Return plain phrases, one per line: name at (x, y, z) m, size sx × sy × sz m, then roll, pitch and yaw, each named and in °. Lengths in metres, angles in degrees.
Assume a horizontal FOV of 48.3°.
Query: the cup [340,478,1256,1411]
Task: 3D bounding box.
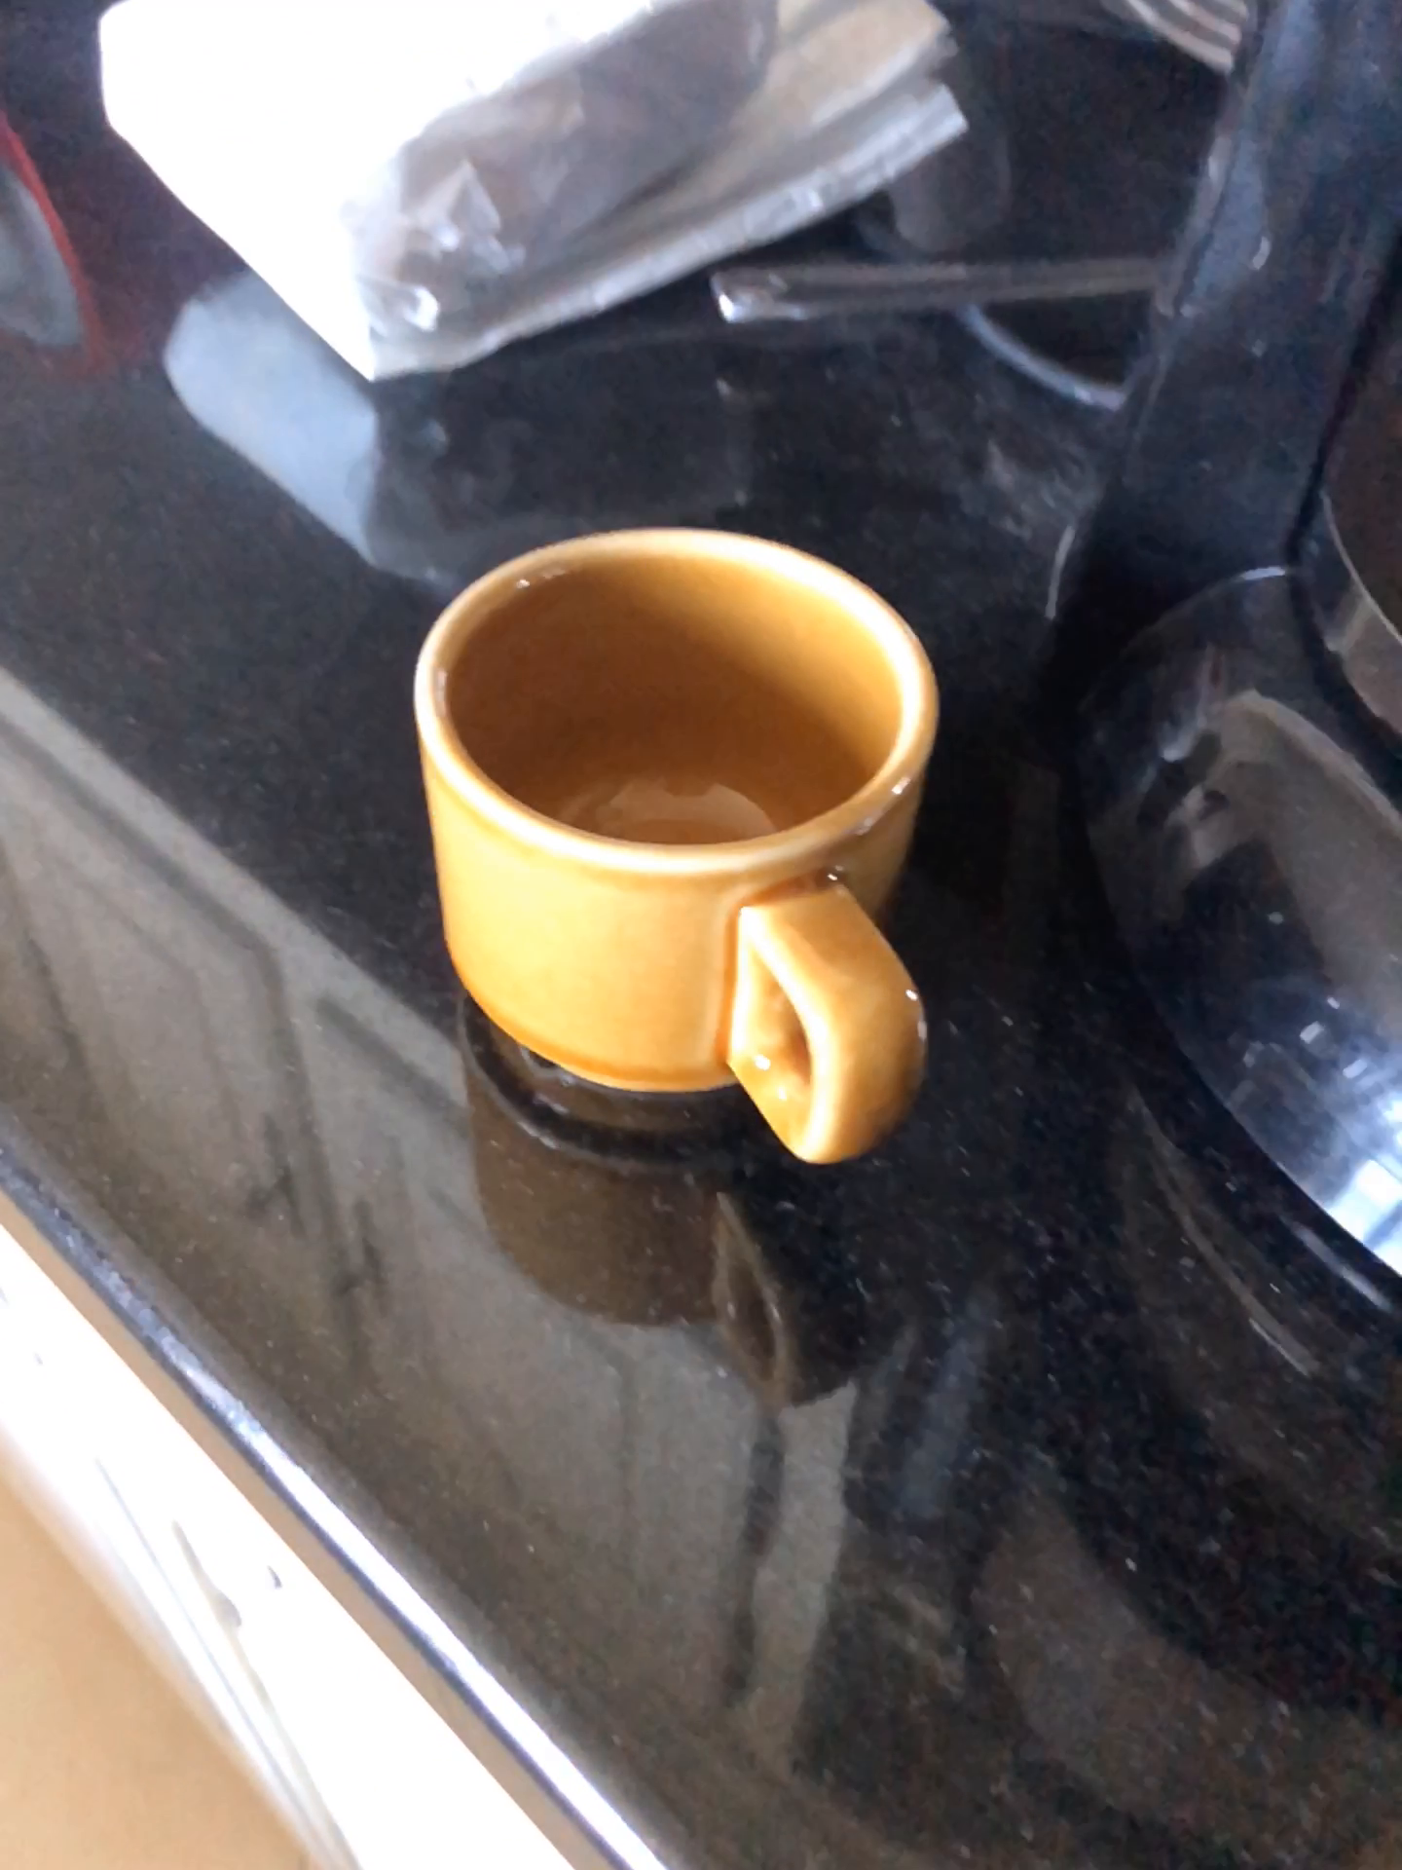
cup at (0.005, -0.006, 0.205) m, size 0.070 × 0.050 × 0.100 m, roll -19°, pitch 51°, yaw -19°
